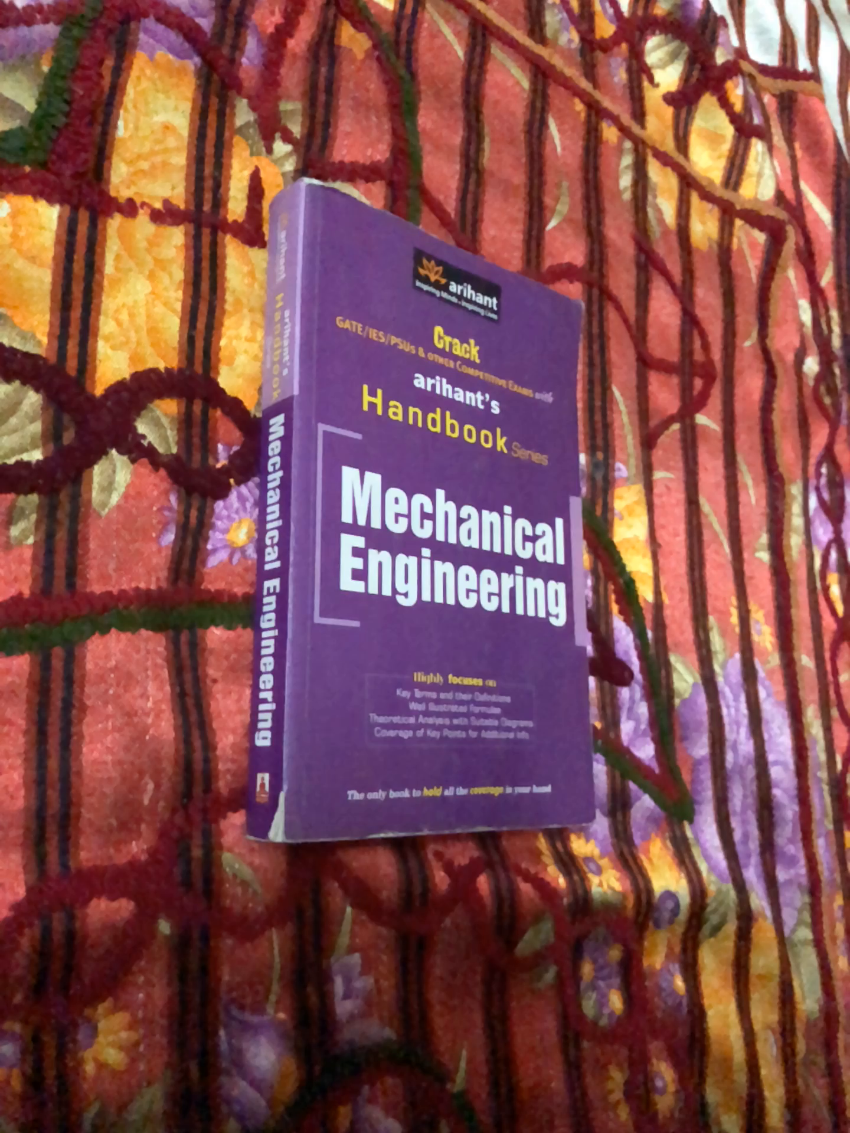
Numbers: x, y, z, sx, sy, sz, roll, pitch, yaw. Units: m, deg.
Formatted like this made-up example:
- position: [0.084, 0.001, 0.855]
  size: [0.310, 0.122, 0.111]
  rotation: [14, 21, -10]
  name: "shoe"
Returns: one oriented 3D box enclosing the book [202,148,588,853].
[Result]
- position: [-0.005, -0.017, 0.363]
  size: [0.148, 0.040, 0.231]
  rotation: [9, 75, -41]
  name: "book"
